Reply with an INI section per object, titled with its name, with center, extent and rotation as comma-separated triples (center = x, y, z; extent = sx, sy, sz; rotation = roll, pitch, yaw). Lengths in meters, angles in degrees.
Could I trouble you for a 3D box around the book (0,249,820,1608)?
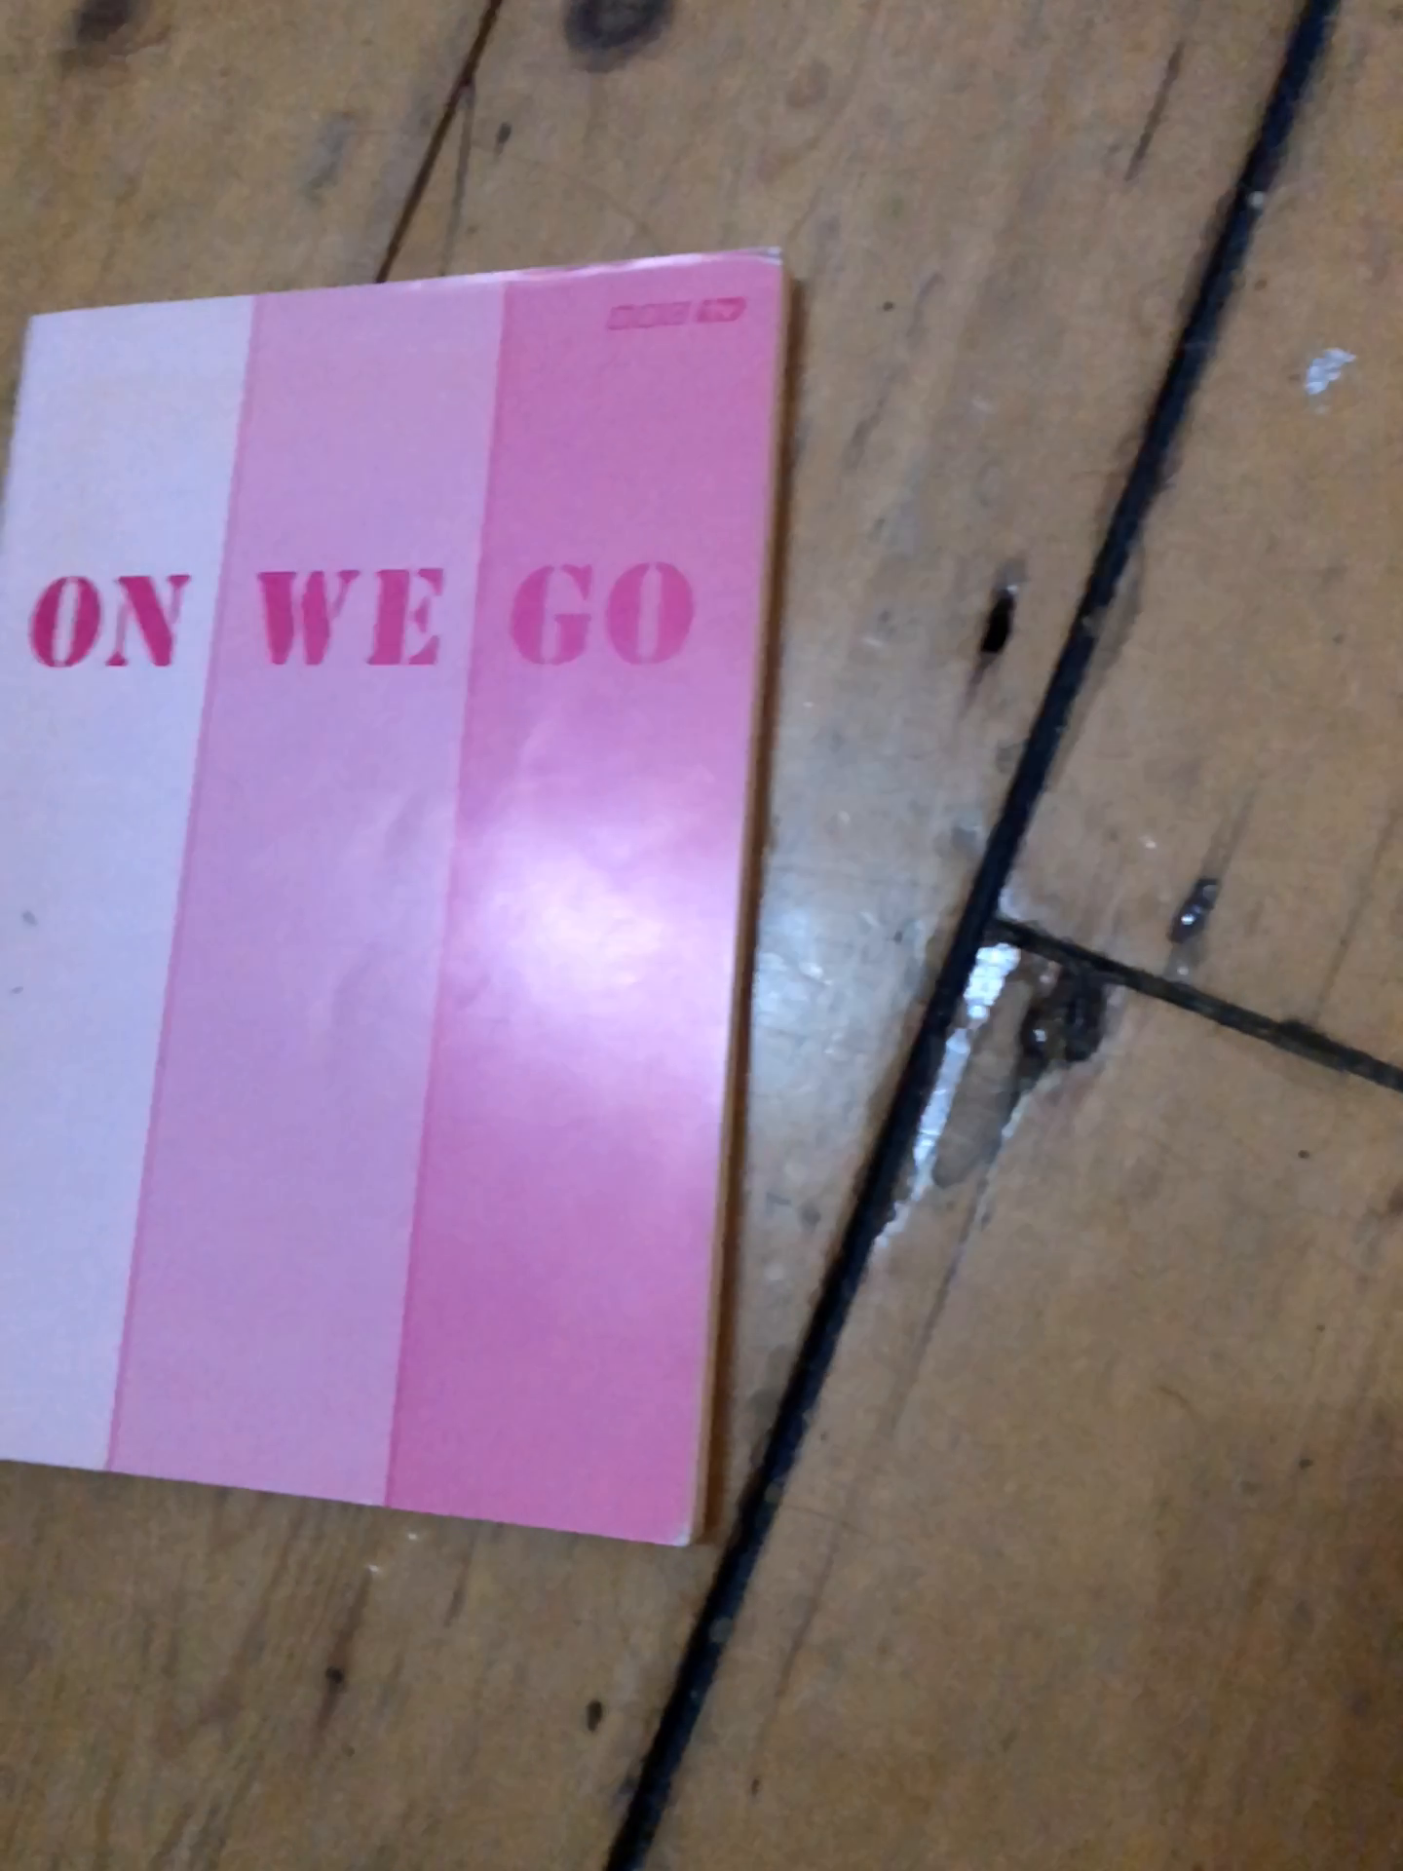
[book]
center = -0.066, -0.009, 0.278
extent = 0.160, 0.020, 0.220
rotation = 2, 81, 15
